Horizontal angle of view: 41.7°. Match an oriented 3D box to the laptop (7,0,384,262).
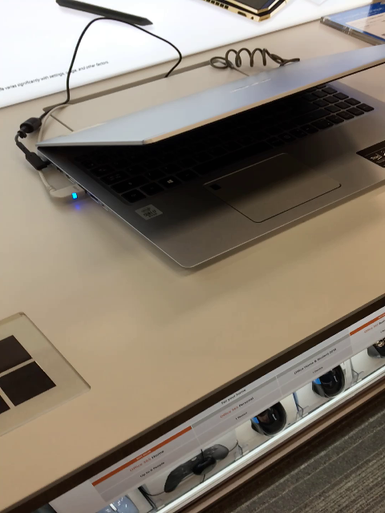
[{"bbox_3d":[0.085,-0.175,0.538,0.398,0.143,0.256,-26,54,-17],"label":"laptop"}]
